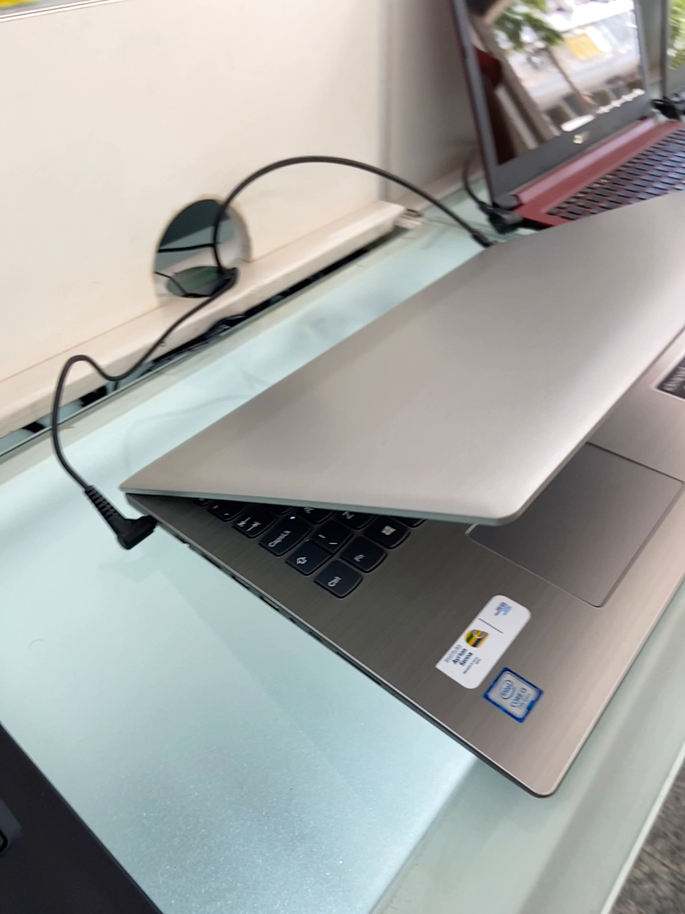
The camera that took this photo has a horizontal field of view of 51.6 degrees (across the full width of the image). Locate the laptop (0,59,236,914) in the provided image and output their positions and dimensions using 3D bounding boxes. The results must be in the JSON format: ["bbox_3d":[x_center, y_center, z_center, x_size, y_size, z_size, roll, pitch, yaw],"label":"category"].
[{"bbox_3d":[-0.309,0.094,0.117,0.400,0.211,0.356,24,44,28],"label":"laptop"}]

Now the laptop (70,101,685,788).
[{"bbox_3d":[0.098,-0.071,0.384,0.246,0.114,0.370,28,49,31],"label":"laptop"}]
